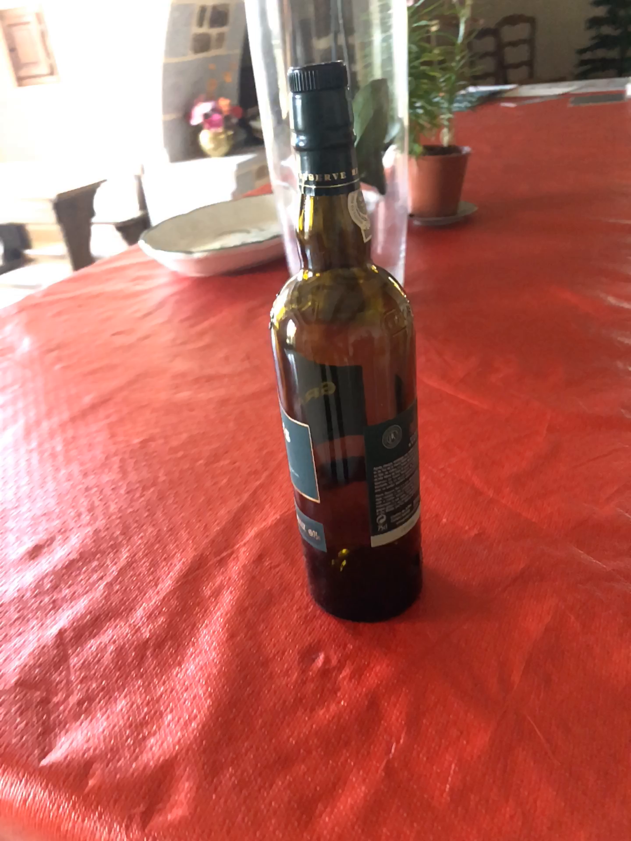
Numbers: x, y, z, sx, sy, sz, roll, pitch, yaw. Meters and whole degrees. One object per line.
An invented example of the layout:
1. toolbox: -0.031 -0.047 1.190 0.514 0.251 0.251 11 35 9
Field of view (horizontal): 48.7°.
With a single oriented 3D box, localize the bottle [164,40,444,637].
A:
1. bottle: 0.011 -0.033 0.383 0.090 0.298 0.091 -5 29 3
